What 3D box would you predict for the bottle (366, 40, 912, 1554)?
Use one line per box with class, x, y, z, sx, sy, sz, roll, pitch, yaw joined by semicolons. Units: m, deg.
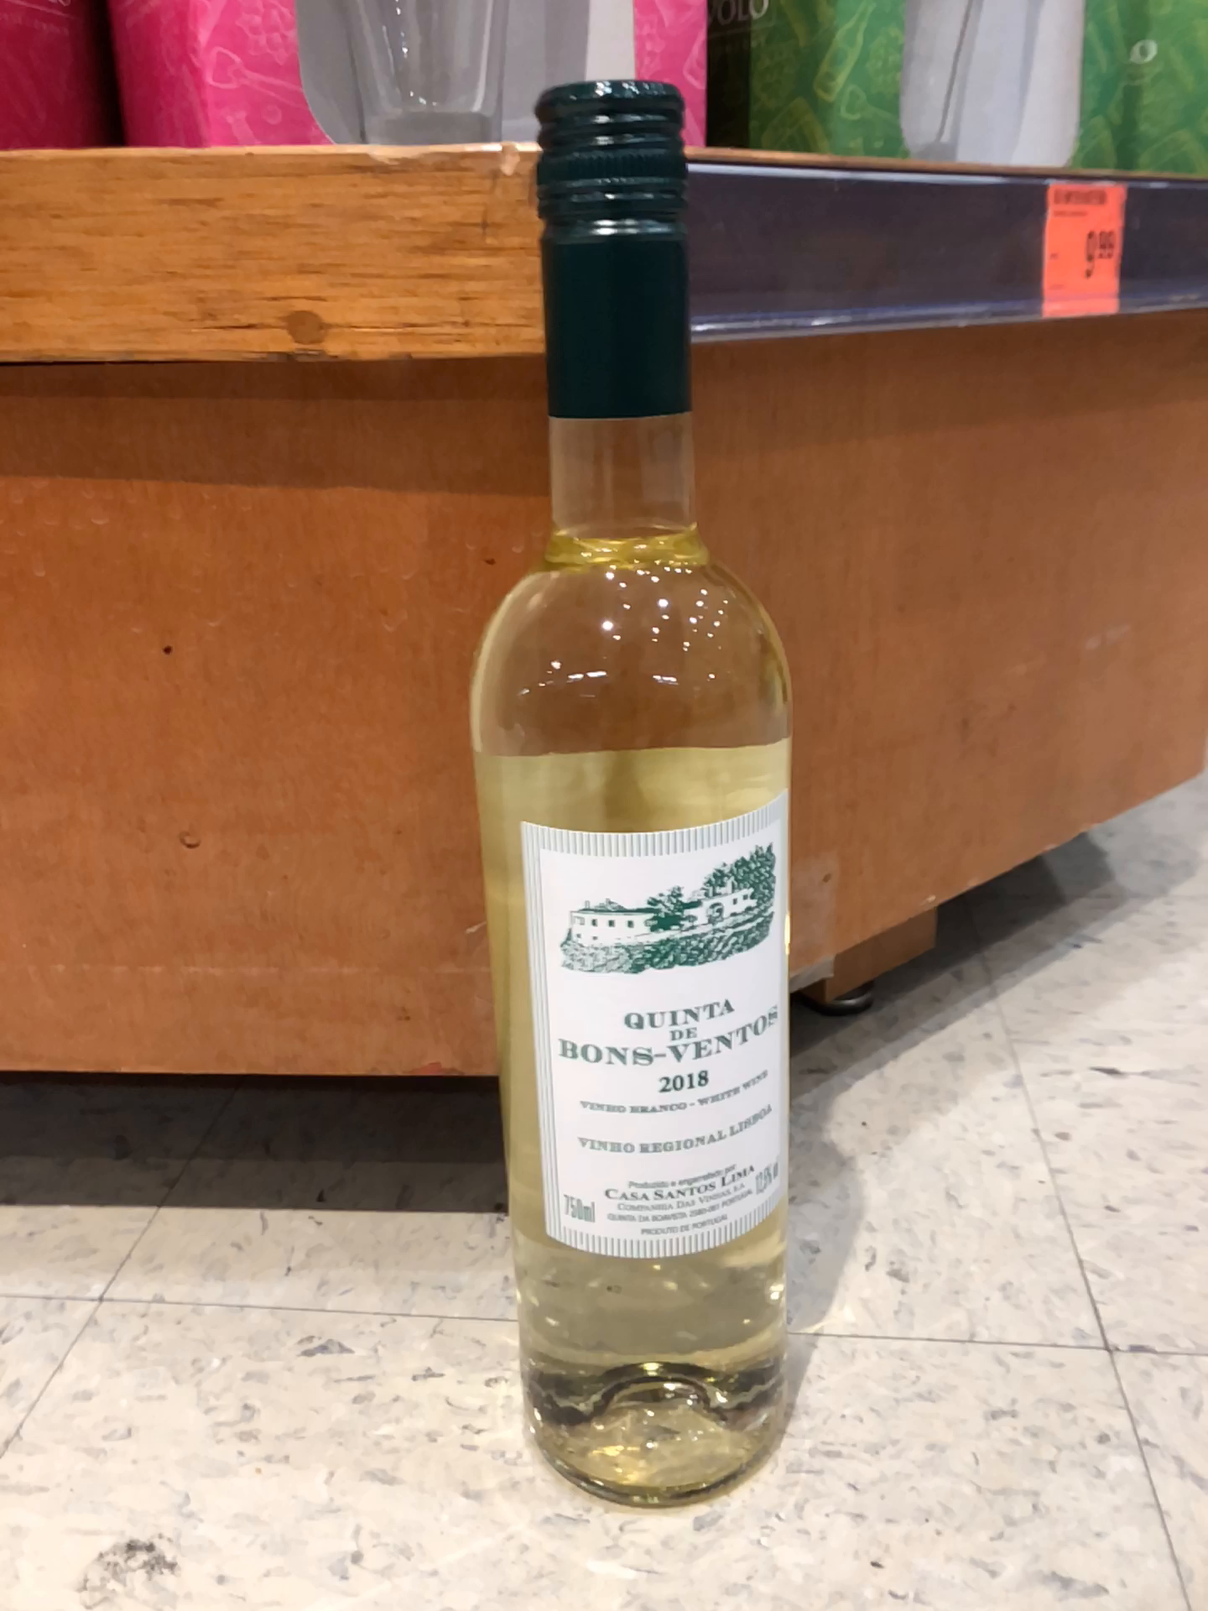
bottle;0.008;0.009;0.303;0.080;0.308;0.080;-2;20;1
